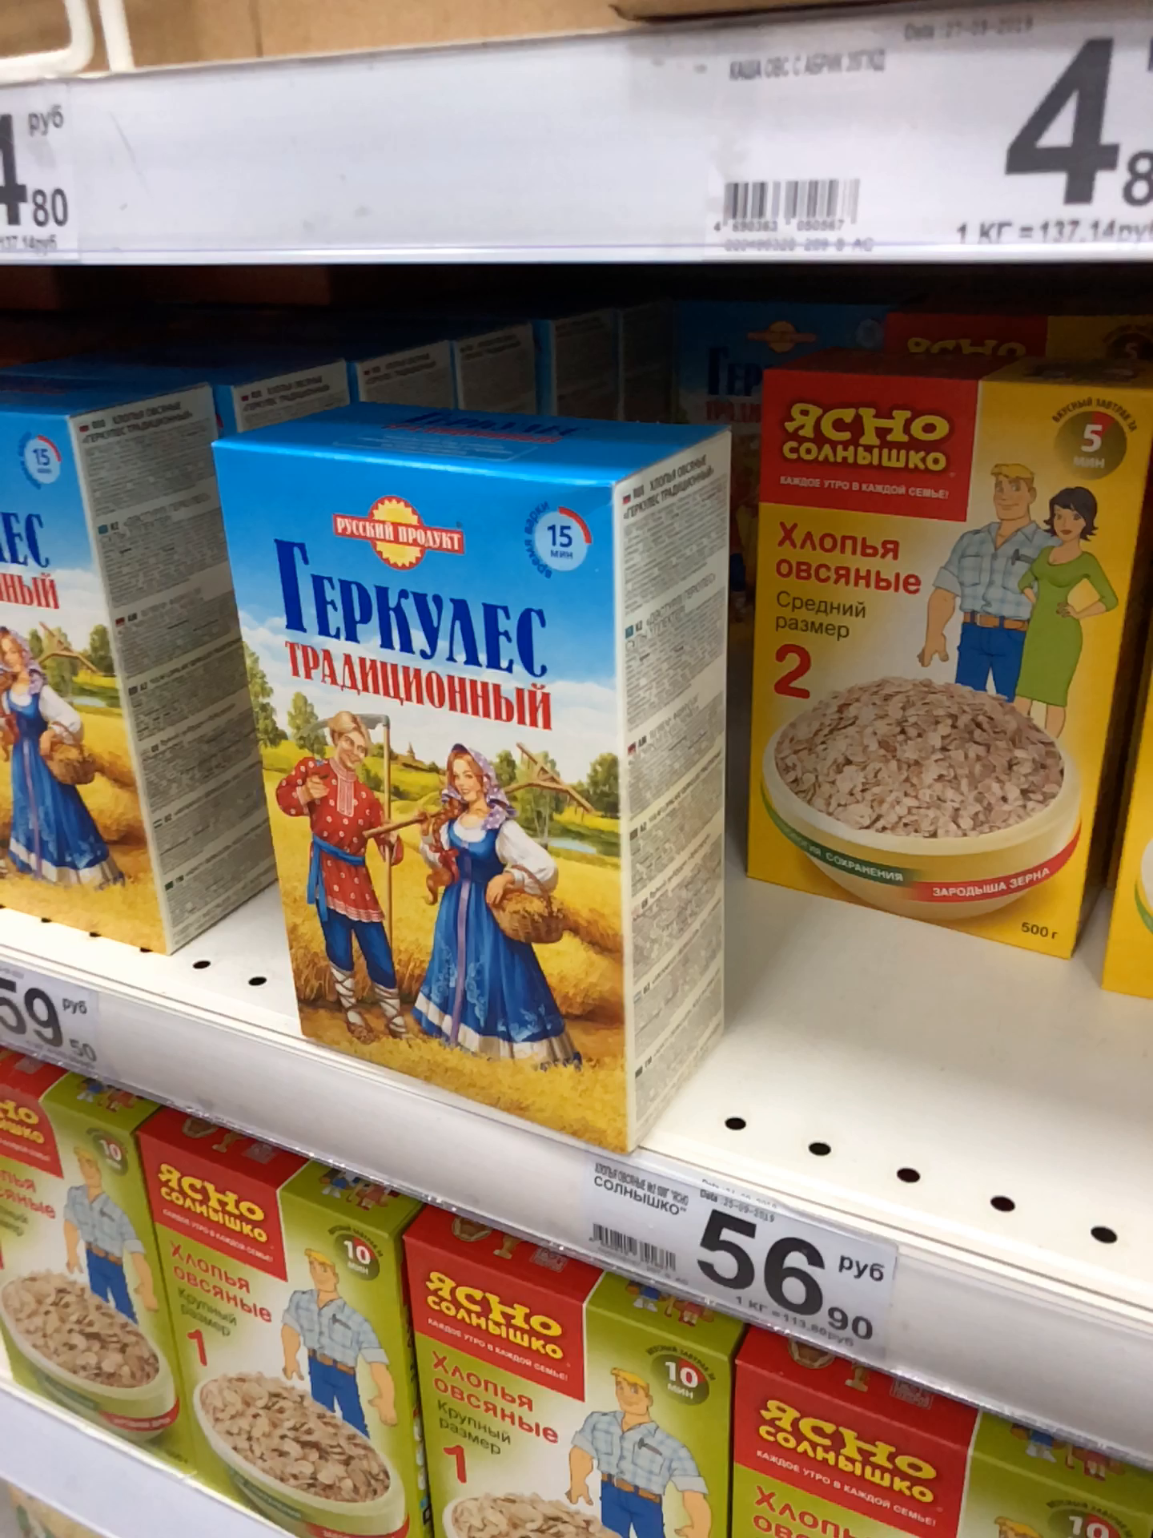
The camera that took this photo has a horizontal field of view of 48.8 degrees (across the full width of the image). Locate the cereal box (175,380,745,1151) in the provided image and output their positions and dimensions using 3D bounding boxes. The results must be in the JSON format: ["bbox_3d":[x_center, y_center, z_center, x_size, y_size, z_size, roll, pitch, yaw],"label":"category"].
[{"bbox_3d":[-0.028,-0.007,0.367,0.130,0.189,0.070,12,28,27],"label":"cereal box"}]
